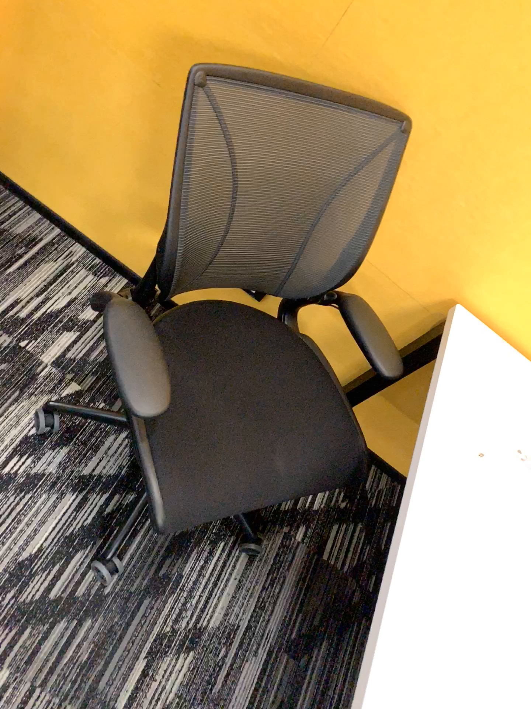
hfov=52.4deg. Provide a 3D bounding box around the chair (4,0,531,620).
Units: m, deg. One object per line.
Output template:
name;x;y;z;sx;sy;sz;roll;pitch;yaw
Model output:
chair;-0.052;0.028;0.935;0.543;0.814;0.571;-9;69;-36
